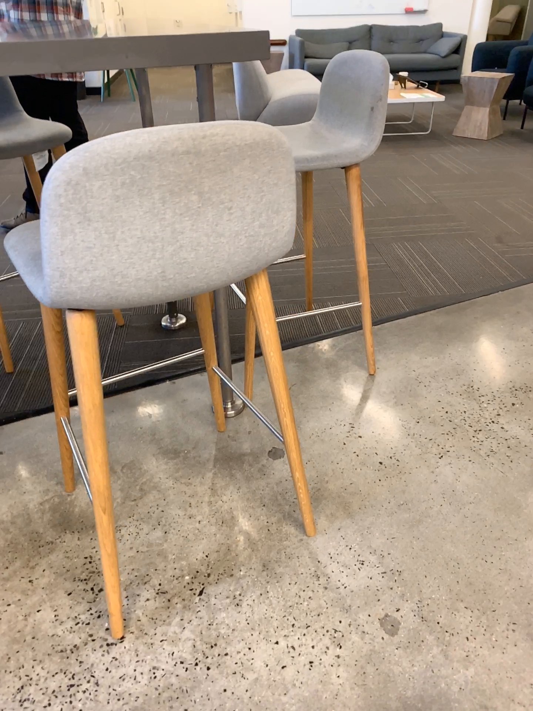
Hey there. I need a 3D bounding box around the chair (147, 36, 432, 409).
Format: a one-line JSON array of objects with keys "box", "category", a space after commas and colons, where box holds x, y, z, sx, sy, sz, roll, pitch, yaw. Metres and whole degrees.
[{"box": [-0.004, -0.539, 1.942, 0.580, 0.974, 0.966, -11, 34, -15], "category": "chair"}]

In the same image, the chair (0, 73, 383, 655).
[{"box": [-0.206, -0.023, 1.117, 0.550, 0.914, 0.573, -17, 36, -24], "category": "chair"}]
